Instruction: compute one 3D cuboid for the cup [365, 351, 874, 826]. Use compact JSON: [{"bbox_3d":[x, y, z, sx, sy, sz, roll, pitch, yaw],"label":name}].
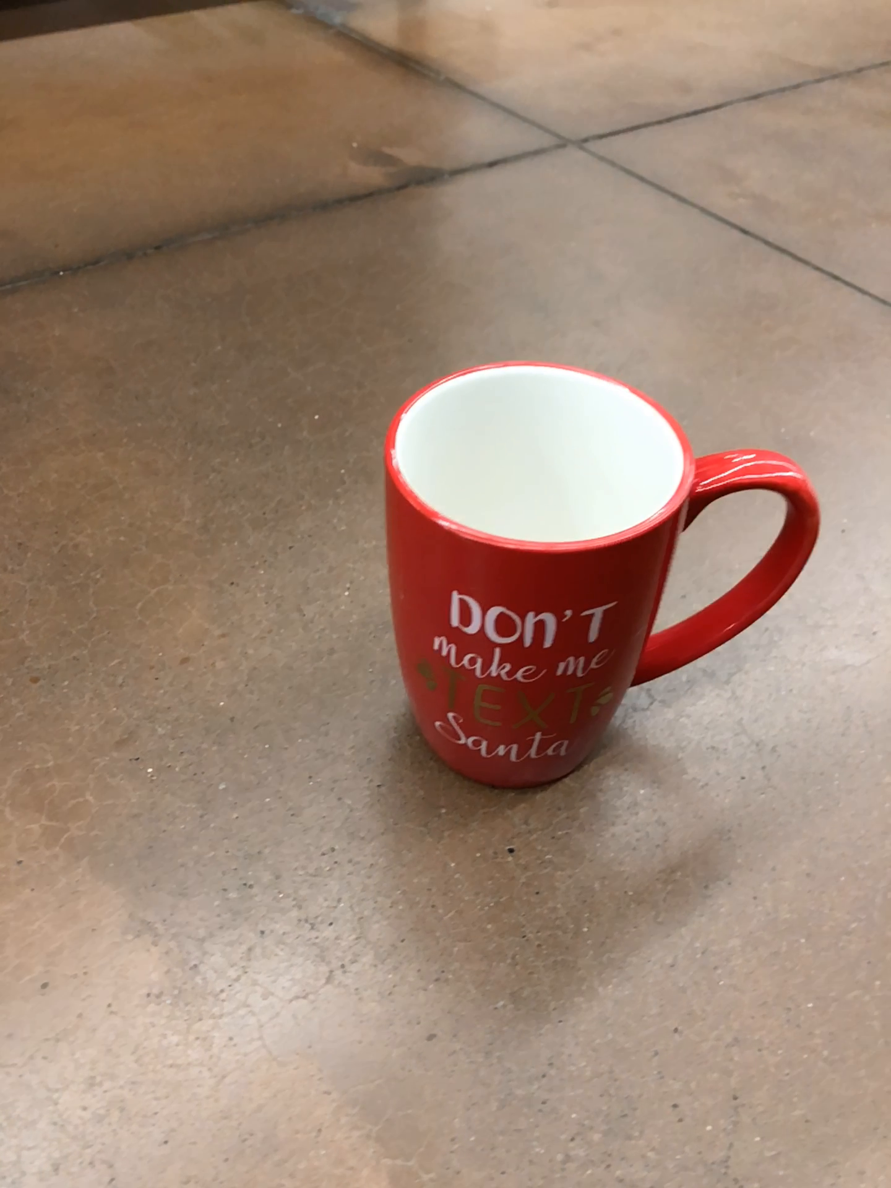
[{"bbox_3d":[0.042,0.002,0.330,0.130,0.130,0.090,1,44,-2],"label":"cup"}]
